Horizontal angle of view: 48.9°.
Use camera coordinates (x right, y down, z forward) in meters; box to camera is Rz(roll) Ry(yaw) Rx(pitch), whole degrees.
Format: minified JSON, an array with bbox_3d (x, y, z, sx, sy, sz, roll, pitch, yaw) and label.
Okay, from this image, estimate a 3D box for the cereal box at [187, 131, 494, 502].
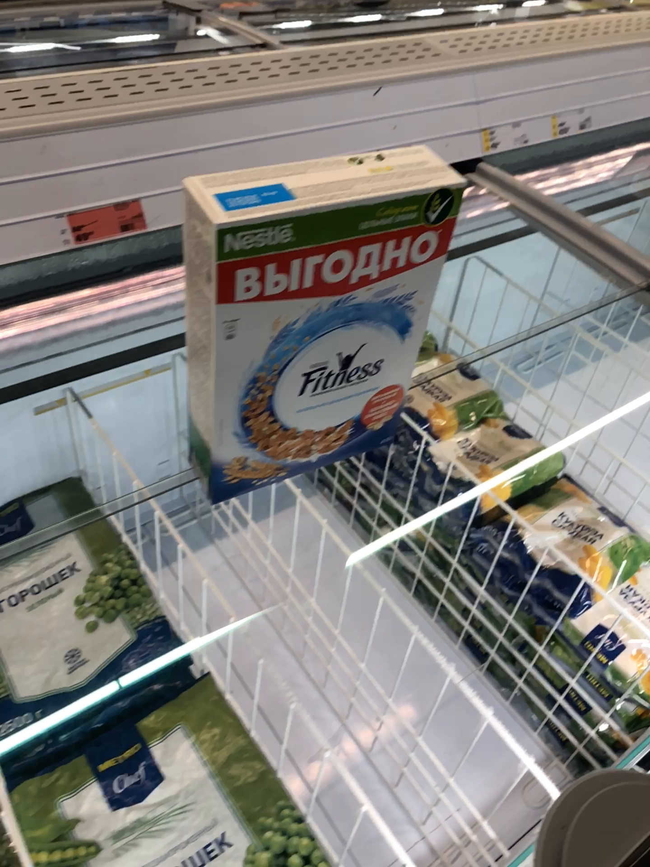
[{"bbox_3d":[0.000,-0.083,0.566,0.200,0.268,0.060,-18,51,-24],"label":"cereal box"}]
